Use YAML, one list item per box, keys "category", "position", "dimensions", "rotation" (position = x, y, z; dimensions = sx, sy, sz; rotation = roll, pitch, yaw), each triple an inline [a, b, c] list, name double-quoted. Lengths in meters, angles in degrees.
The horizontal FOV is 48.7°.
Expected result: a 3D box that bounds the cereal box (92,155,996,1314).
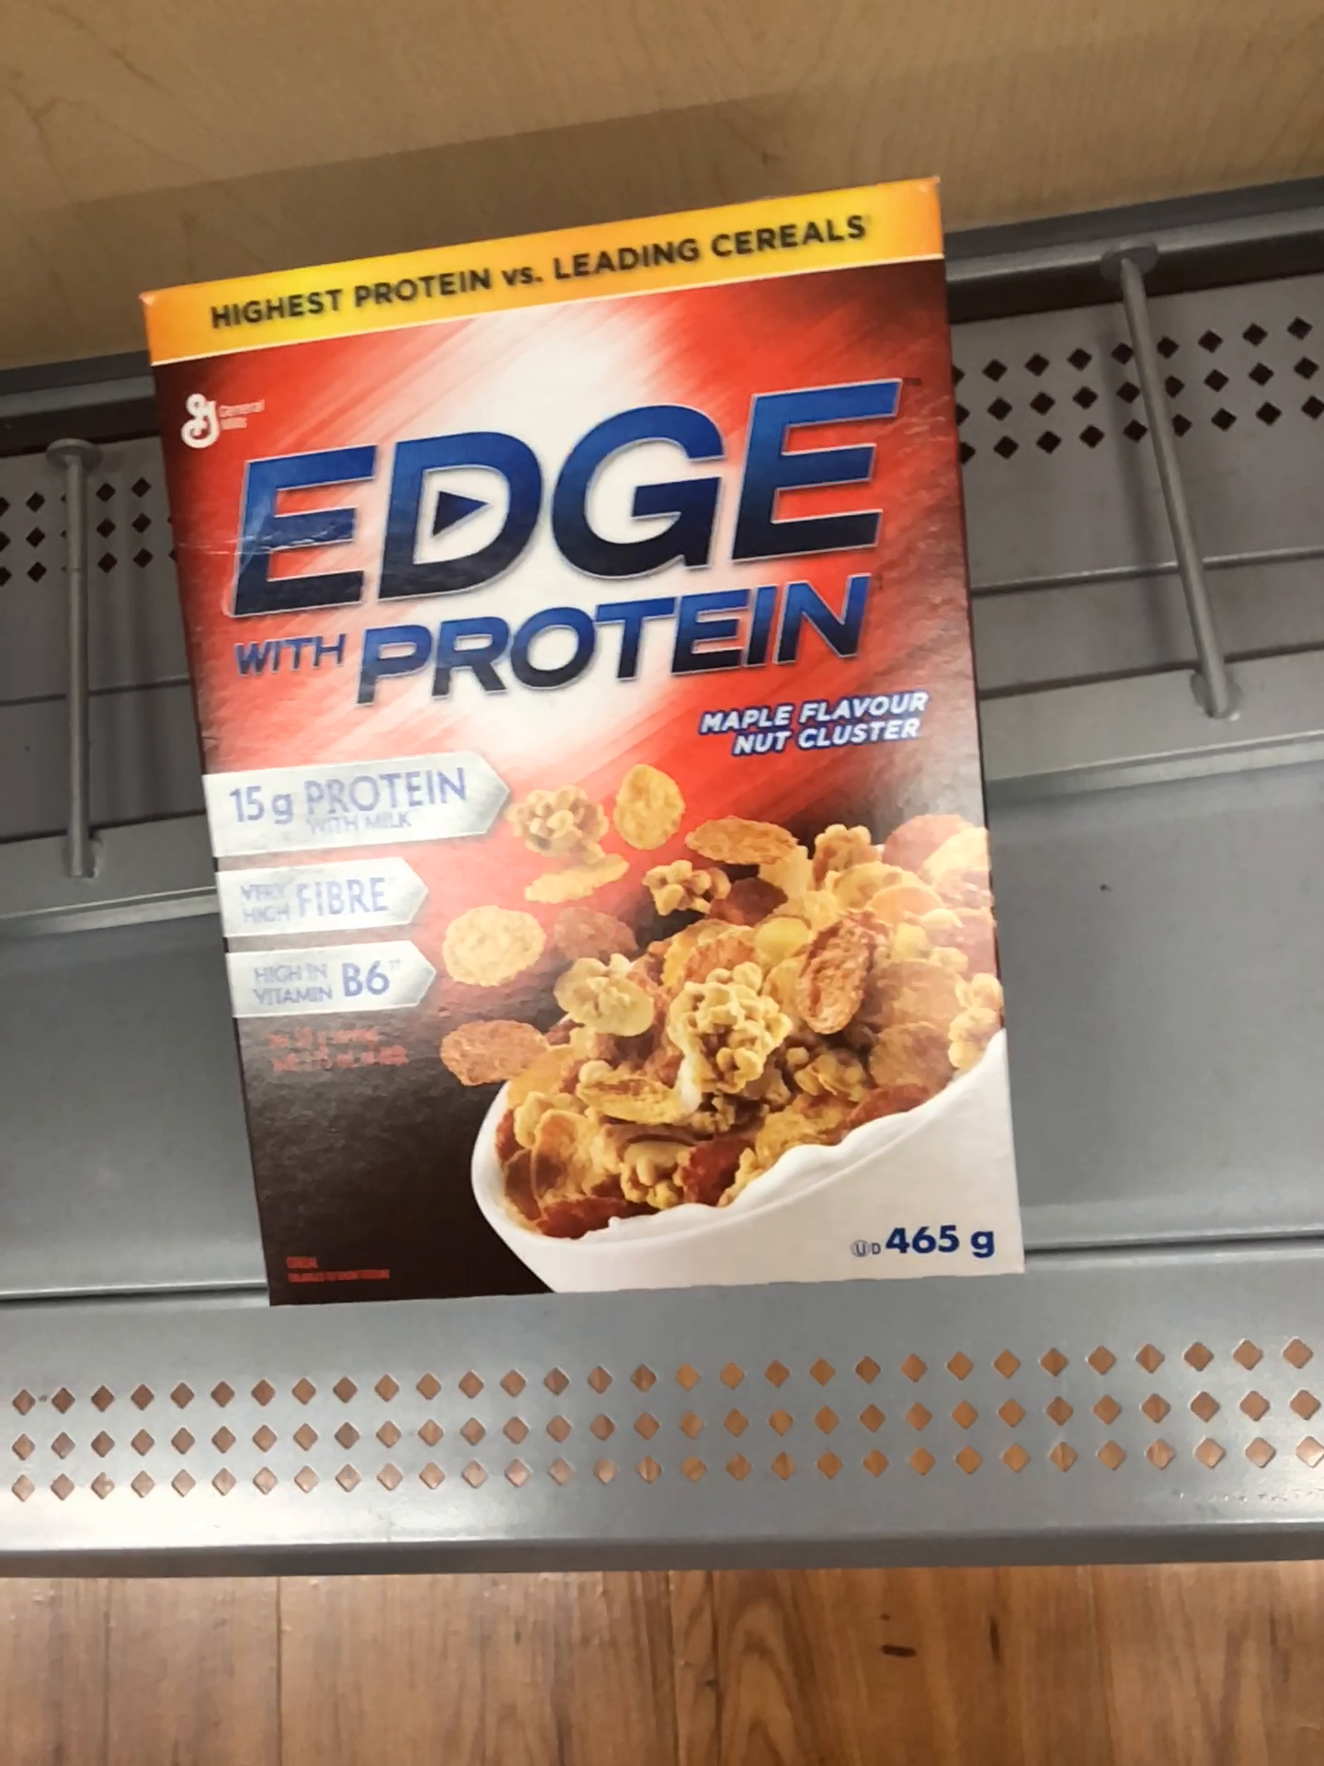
- category: "cereal box"
  position: [-0.026, -0.029, 0.385]
  dimensions: [0.200, 0.070, 0.260]
  rotation: [-4, 92, 9]
